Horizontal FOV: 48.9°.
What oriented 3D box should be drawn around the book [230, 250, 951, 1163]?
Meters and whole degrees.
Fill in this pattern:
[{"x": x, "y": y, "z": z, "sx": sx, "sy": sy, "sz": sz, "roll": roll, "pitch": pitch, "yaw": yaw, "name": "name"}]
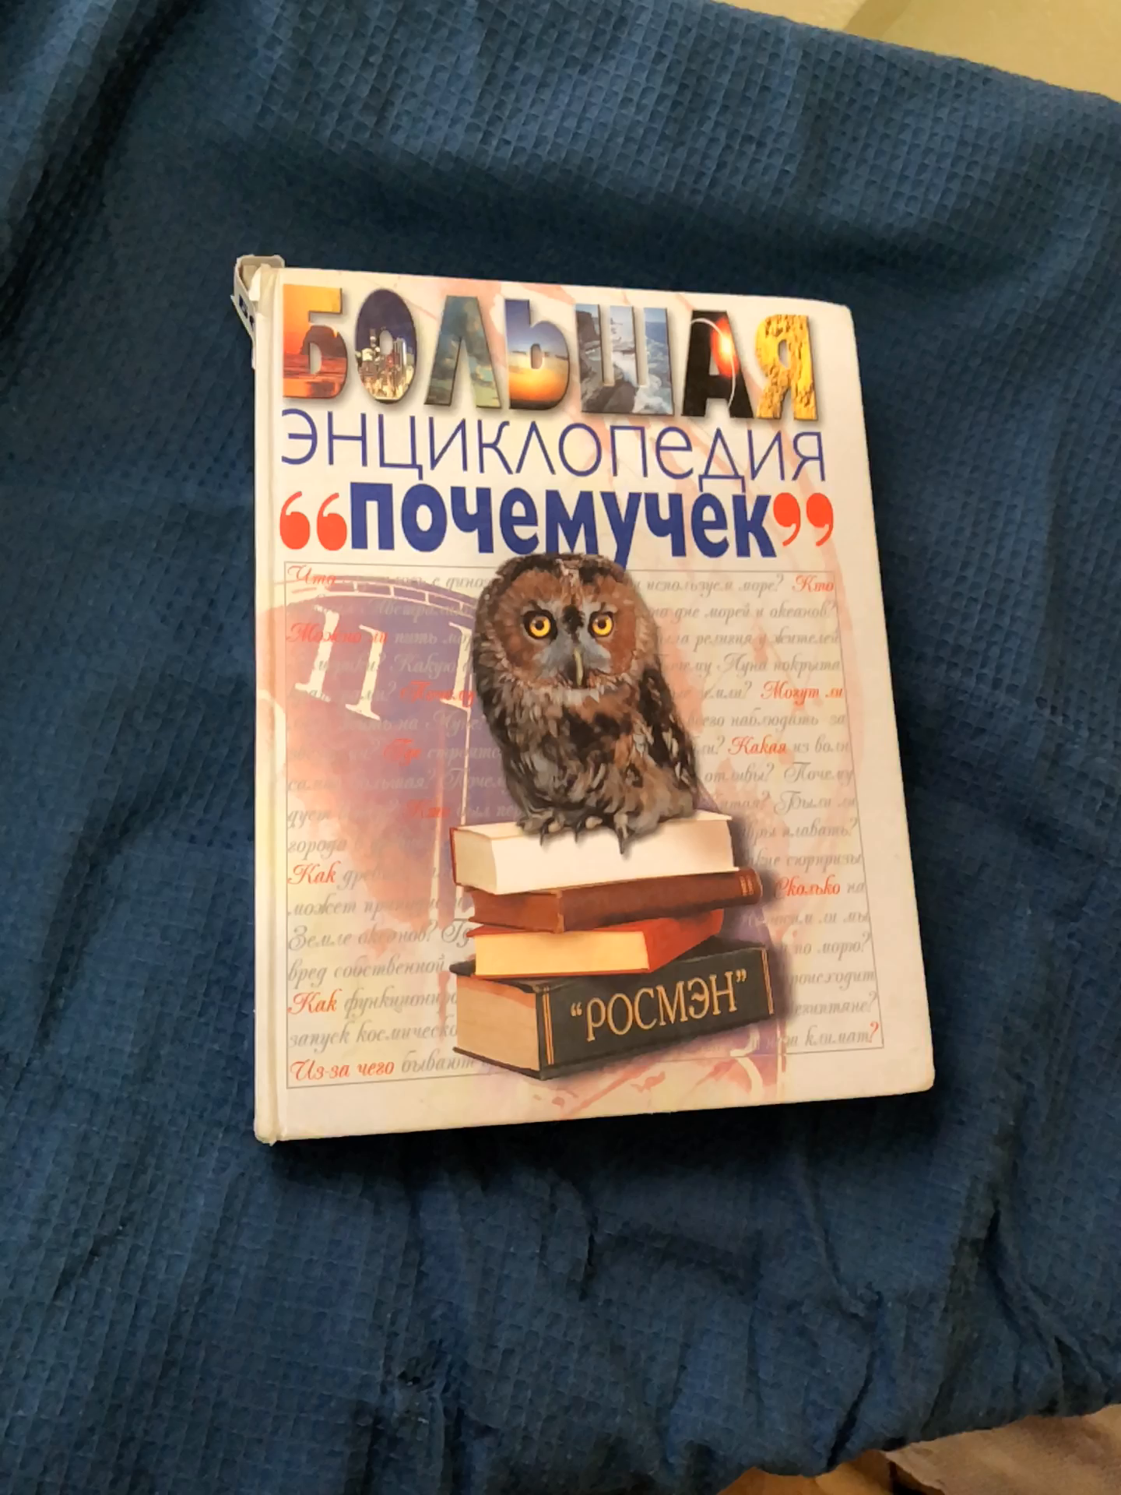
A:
[{"x": 0.006, "y": -0.023, "z": 0.438, "sx": 0.235, "sy": 0.030, "sz": 0.305, "roll": -1, "pitch": 78, "yaw": -12, "name": "book"}]
